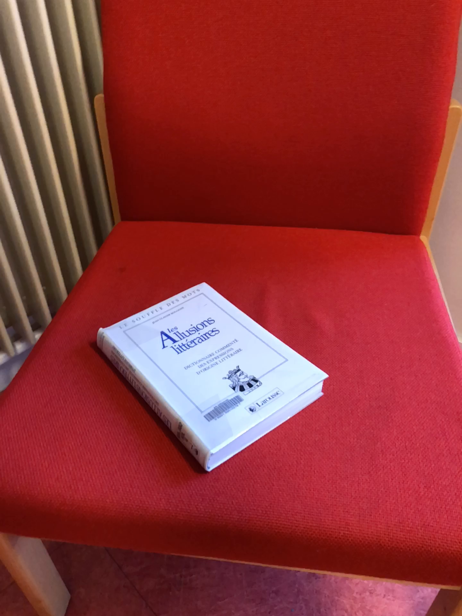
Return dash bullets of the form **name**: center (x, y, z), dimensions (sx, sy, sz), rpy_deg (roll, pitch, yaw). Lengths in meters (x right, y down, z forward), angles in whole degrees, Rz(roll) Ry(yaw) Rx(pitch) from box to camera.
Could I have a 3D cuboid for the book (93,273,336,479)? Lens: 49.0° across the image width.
- **book**: center (-0.024, 0.052, 0.531), dimensions (0.151, 0.030, 0.217), rpy_deg (-27, 46, -28)
